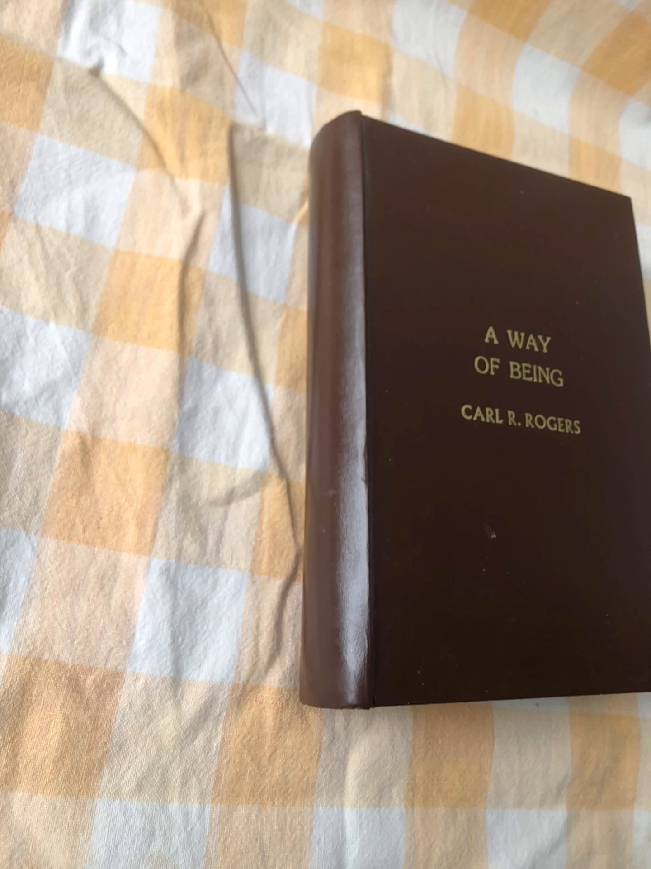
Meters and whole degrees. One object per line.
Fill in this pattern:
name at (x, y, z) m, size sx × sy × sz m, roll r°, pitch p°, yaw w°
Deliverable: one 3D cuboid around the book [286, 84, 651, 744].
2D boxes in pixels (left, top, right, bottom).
book at (0.063, -0.004, 0.276) m, size 0.140 × 0.060 × 0.210 m, roll 7°, pitch 73°, yaw -23°
